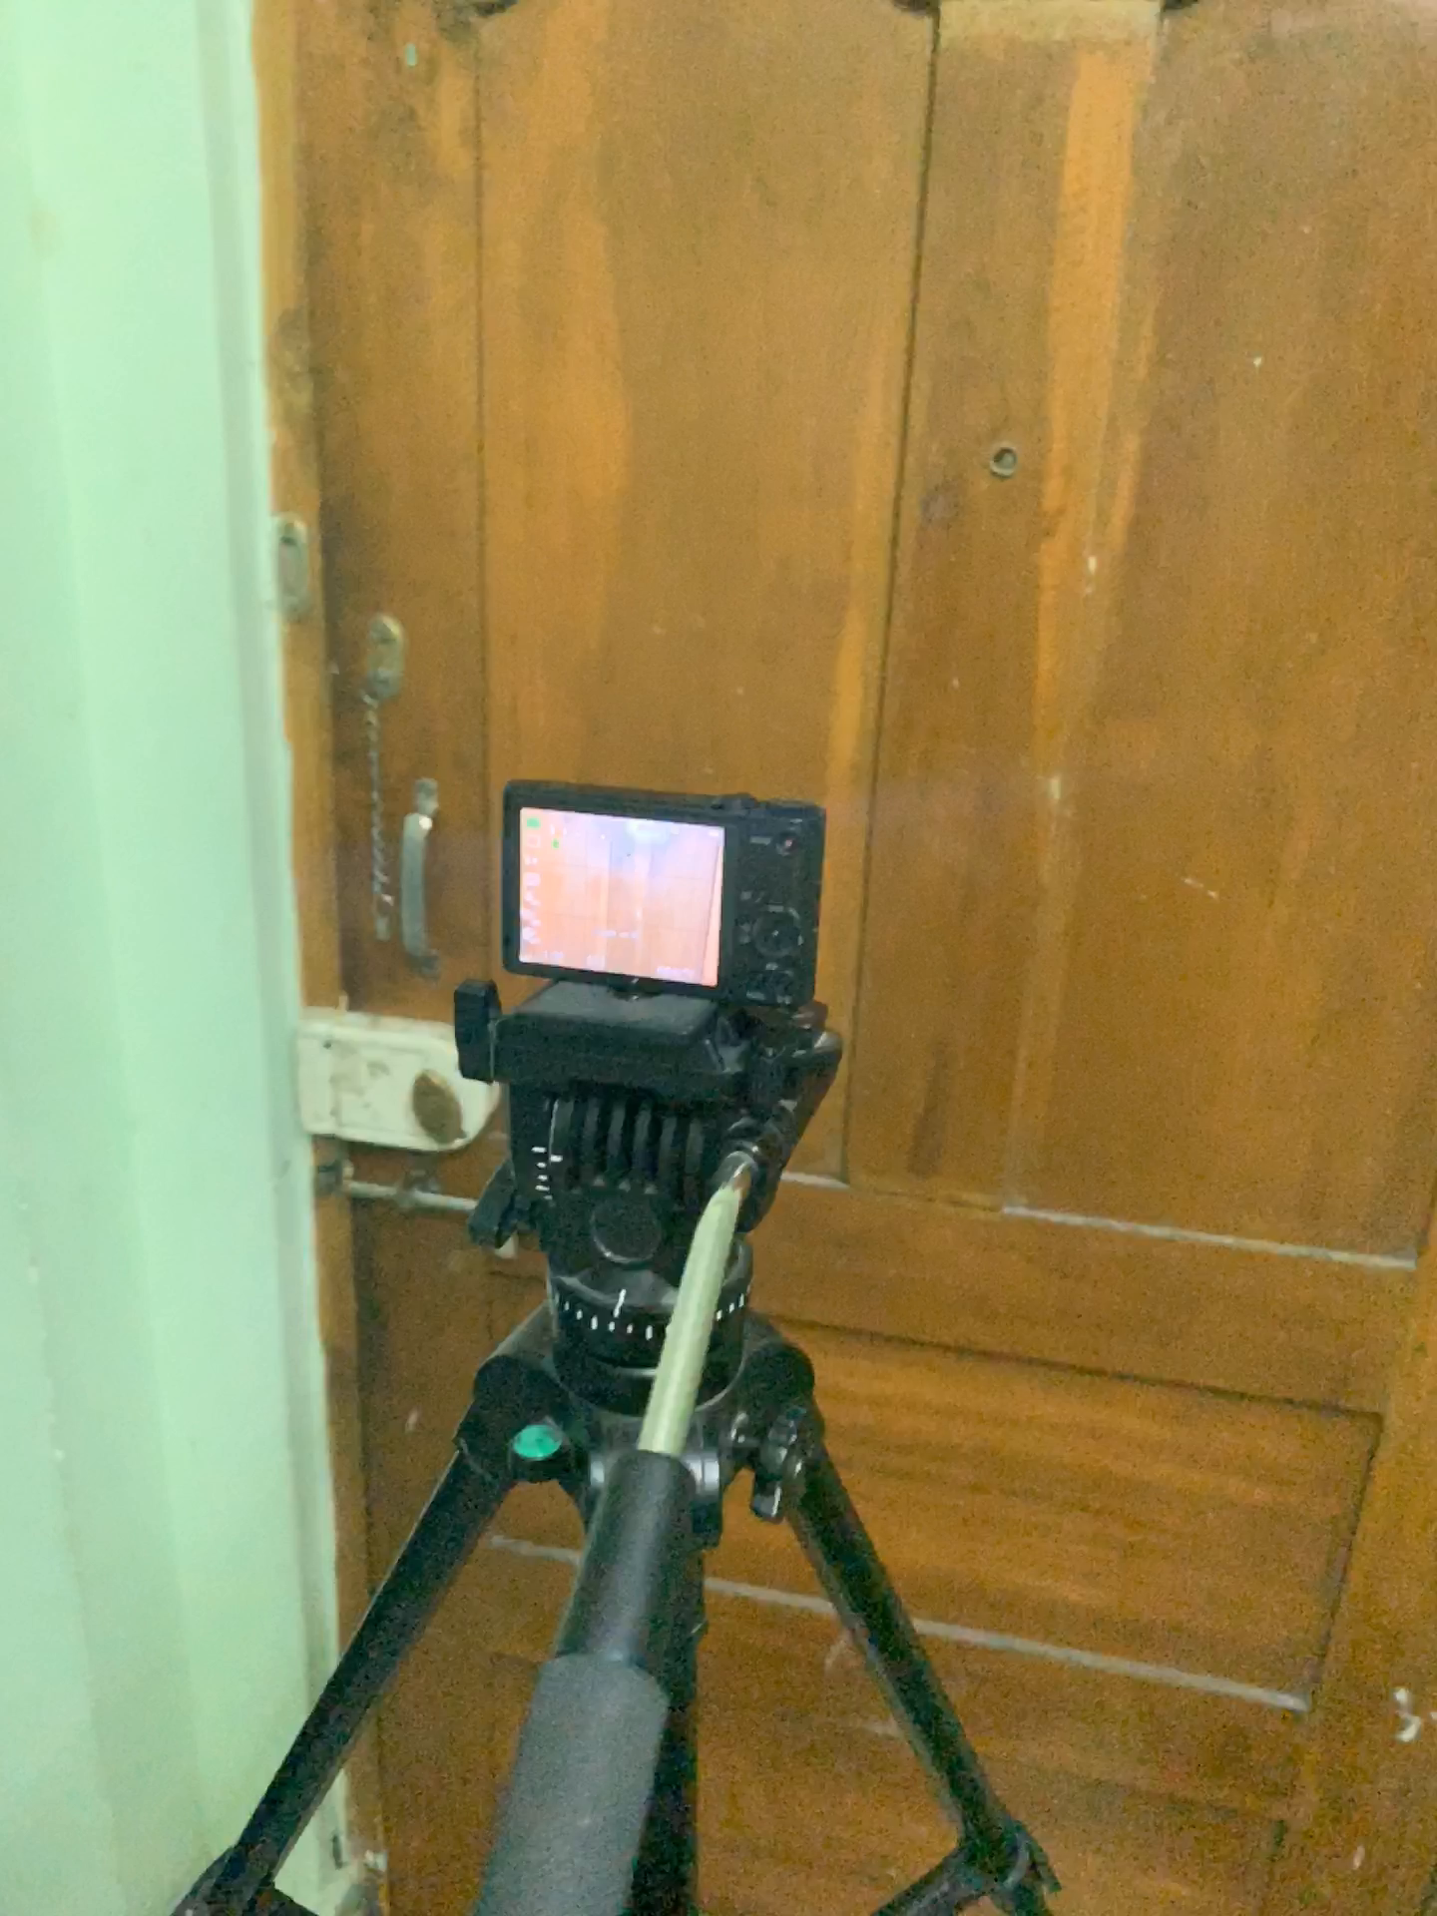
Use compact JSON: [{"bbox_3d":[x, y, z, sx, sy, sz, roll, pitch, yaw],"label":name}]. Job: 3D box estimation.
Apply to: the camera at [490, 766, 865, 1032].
[{"bbox_3d":[-0.012,-0.020,0.438,0.100,0.060,0.040,8,15,14],"label":"camera"}]
